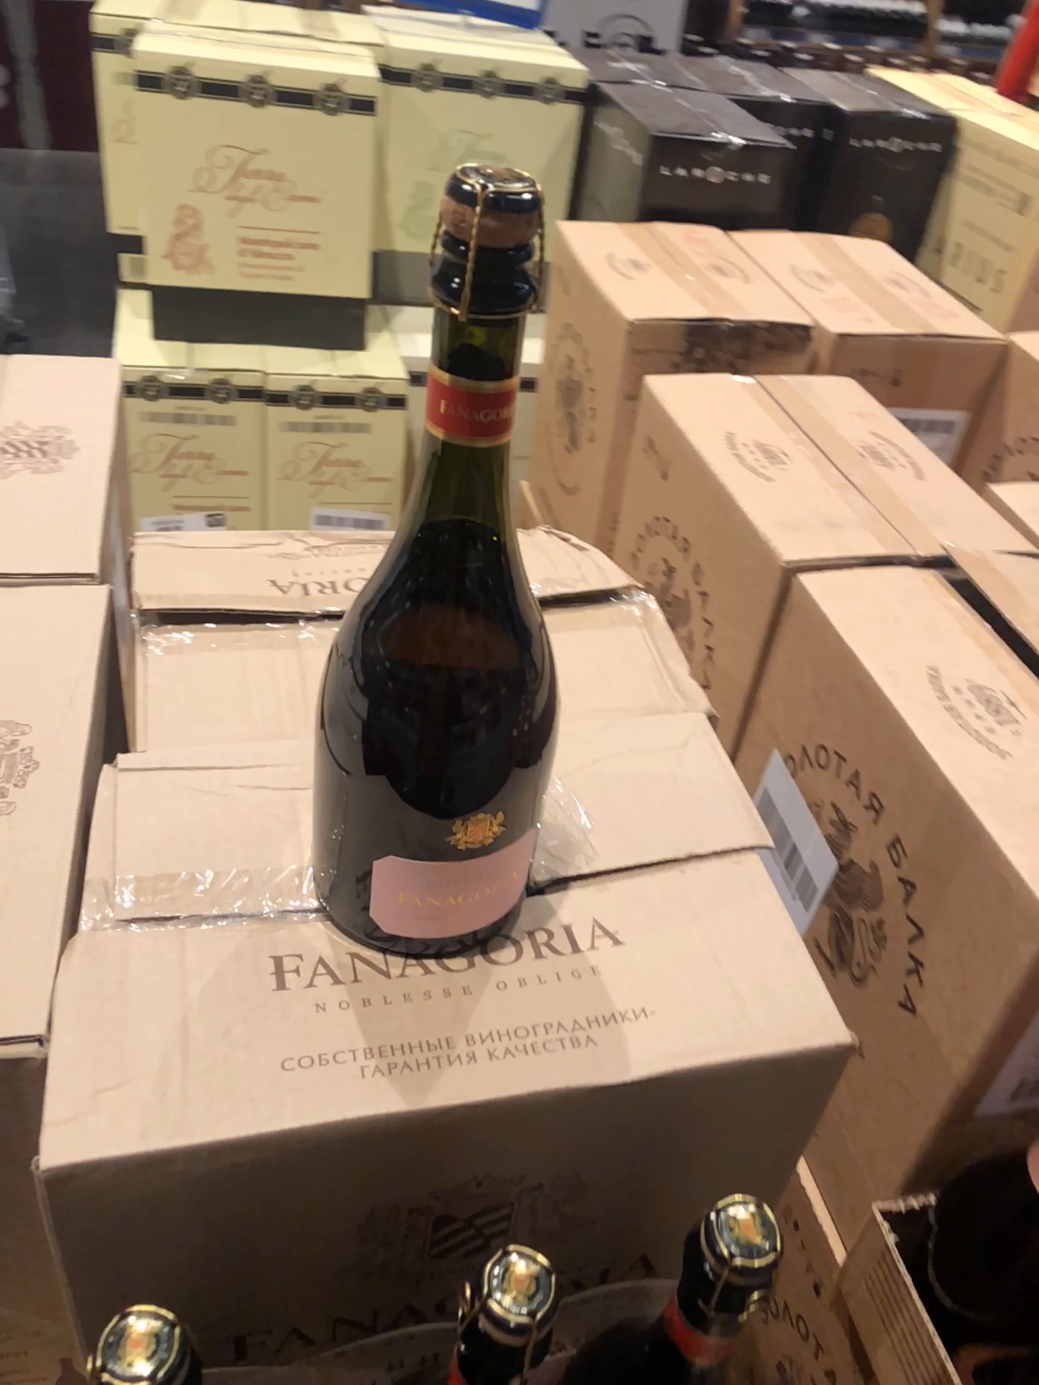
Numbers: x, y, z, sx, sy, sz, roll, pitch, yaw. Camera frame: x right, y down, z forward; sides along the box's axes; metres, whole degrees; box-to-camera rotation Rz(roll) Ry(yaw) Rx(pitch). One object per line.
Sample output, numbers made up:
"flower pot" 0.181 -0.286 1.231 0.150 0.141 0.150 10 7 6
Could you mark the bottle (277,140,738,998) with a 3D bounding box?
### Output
"bottle" -0.022 -0.030 0.424 0.110 0.298 0.101 4 38 -3
